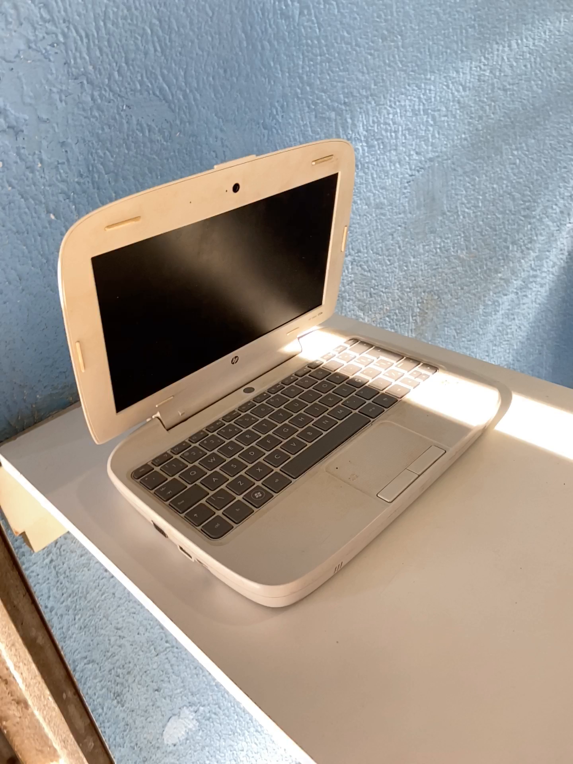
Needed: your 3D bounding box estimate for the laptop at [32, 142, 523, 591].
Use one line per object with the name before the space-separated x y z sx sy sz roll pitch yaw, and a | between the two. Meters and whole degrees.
laptop | 0.009 -0.041 0.409 0.178 0.172 0.248 24 43 39
